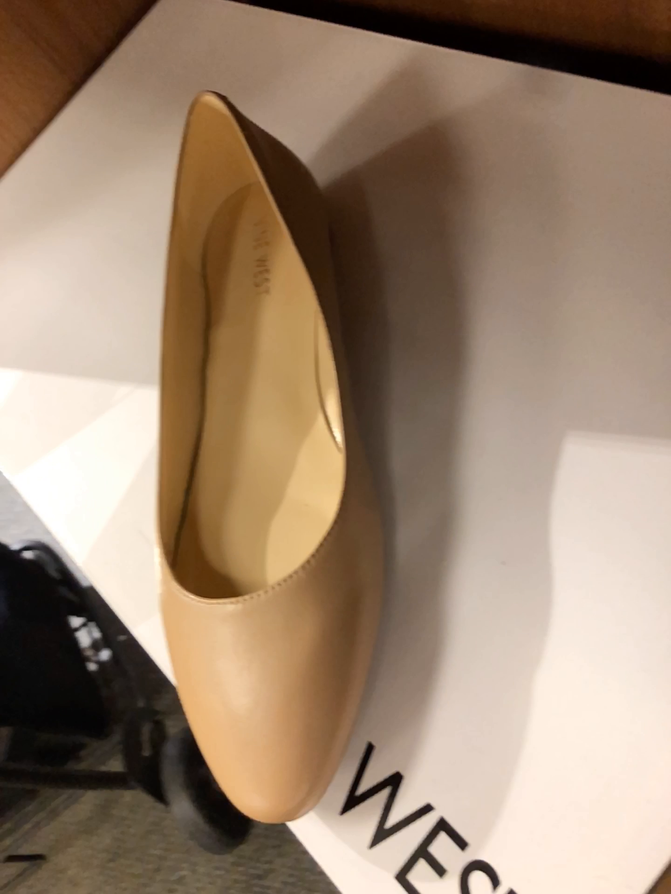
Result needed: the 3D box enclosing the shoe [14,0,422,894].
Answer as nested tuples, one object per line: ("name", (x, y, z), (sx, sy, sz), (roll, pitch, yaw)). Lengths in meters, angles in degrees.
("shoe", (-0.031, -0.012, 0.250), (0.082, 0.070, 0.270), (-12, 65, 22))
